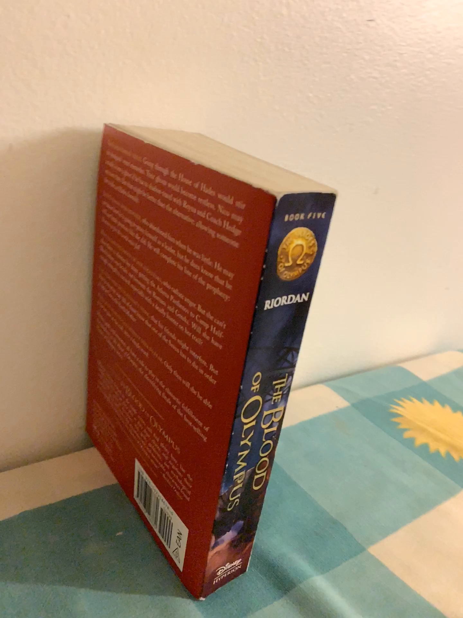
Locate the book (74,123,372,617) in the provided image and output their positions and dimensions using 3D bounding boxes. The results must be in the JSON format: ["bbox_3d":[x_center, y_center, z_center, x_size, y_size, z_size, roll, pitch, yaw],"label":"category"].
[{"bbox_3d":[-0.027,0.015,0.239,0.051,0.180,0.151,-7,27,-34],"label":"book"}]
